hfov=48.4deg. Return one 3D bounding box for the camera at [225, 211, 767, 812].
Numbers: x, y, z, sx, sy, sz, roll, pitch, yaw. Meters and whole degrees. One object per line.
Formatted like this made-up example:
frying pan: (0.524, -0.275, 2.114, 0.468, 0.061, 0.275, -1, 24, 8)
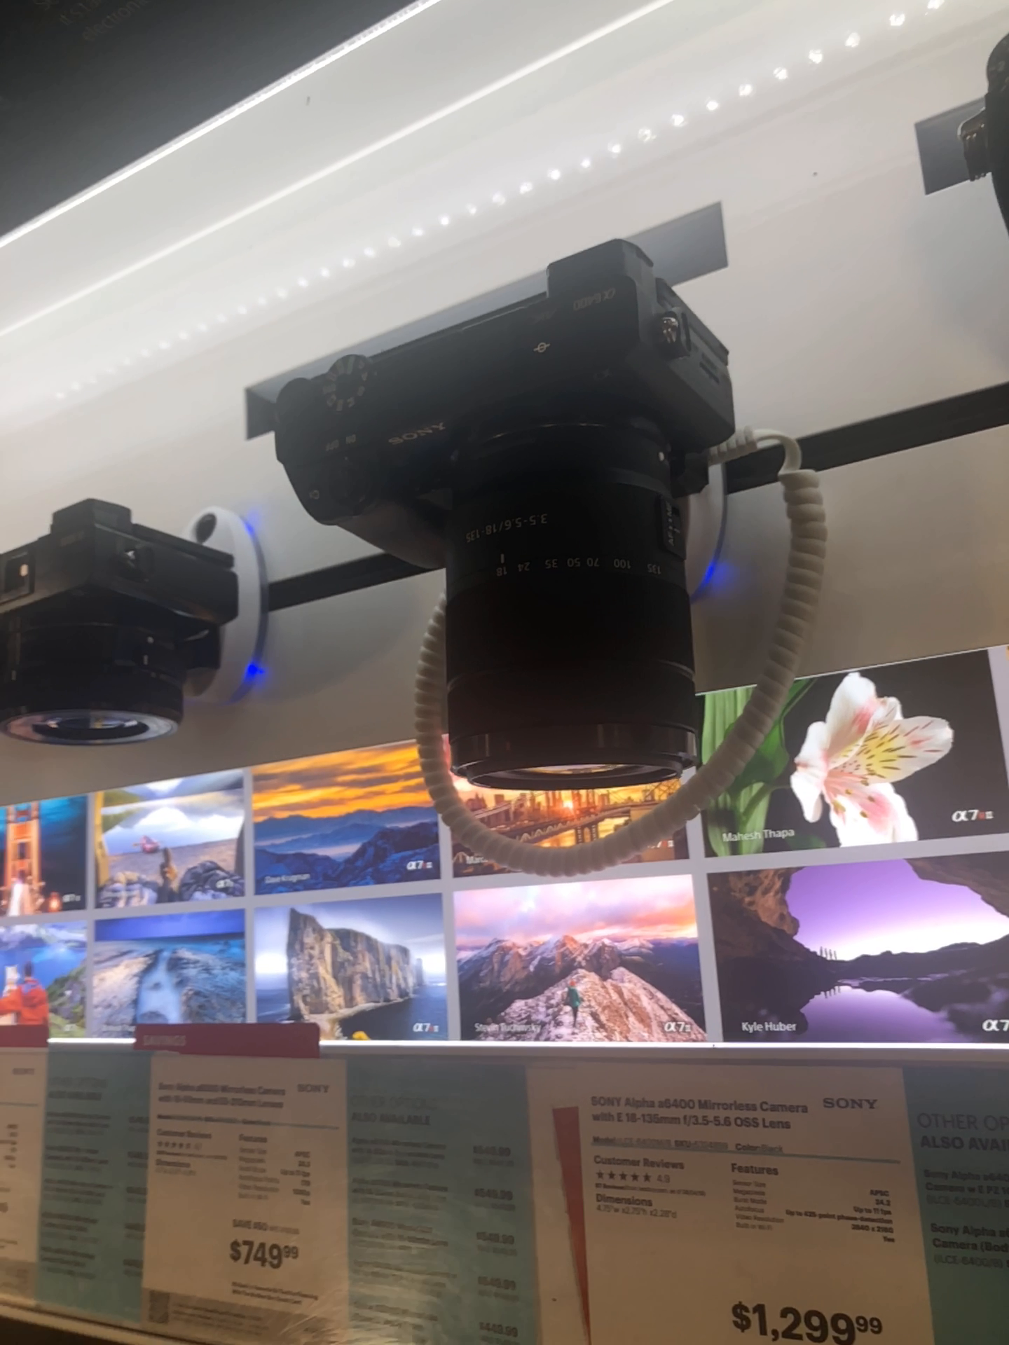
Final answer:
camera: (-0.006, -0.032, 0.317, 0.130, 0.070, 0.130, -9, 77, 31)
